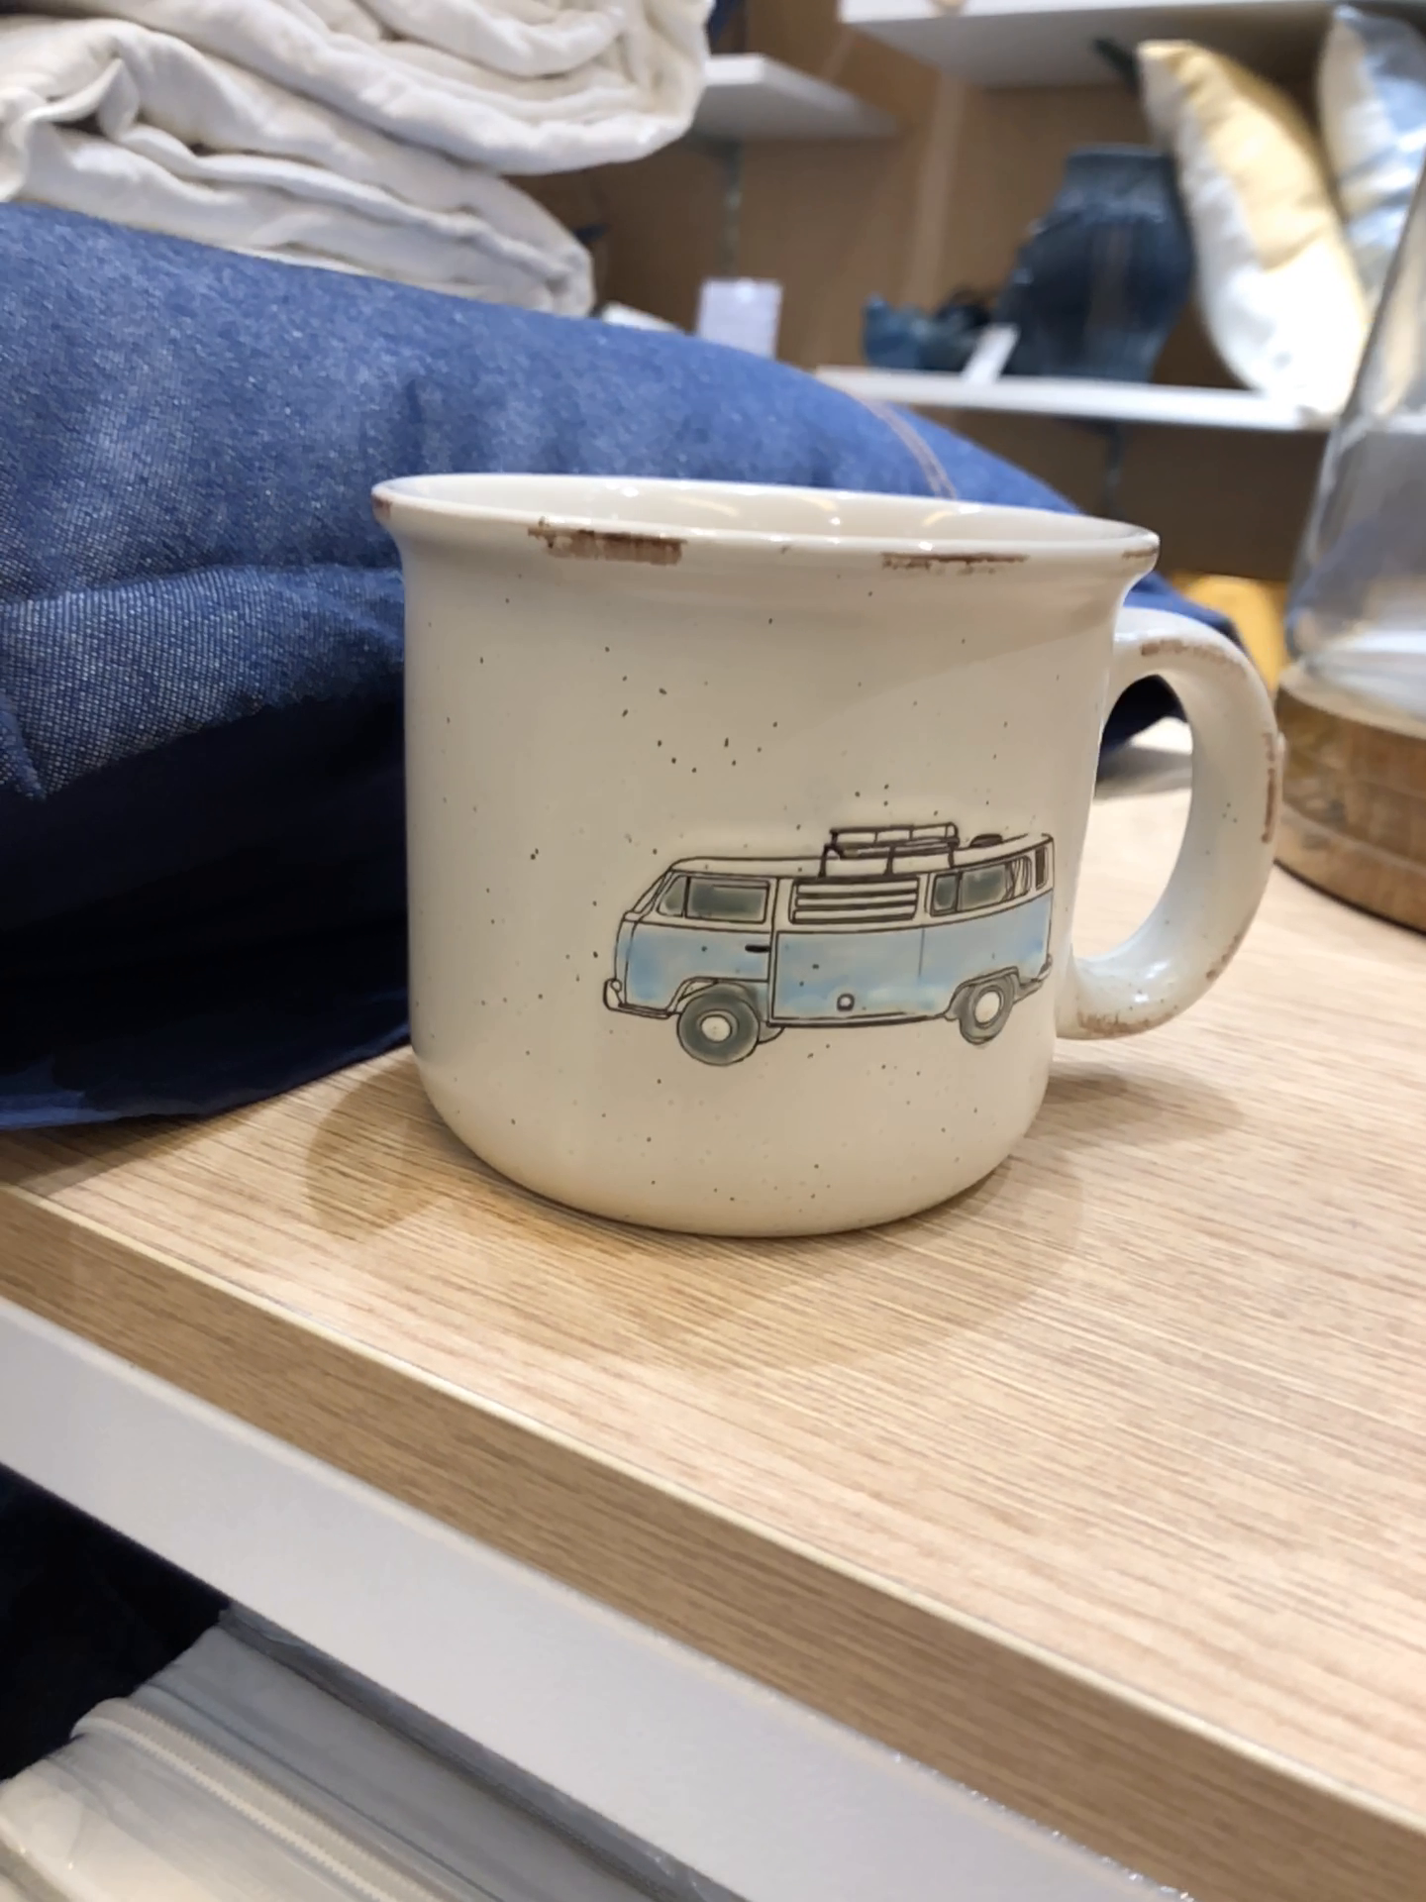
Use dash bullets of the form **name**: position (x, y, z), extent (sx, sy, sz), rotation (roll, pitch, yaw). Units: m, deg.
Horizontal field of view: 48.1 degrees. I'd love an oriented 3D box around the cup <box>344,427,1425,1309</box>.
- **cup**: position (0.024, -0.022, 0.228), extent (0.140, 0.089, 0.100), rotation (-2, 19, -17)
